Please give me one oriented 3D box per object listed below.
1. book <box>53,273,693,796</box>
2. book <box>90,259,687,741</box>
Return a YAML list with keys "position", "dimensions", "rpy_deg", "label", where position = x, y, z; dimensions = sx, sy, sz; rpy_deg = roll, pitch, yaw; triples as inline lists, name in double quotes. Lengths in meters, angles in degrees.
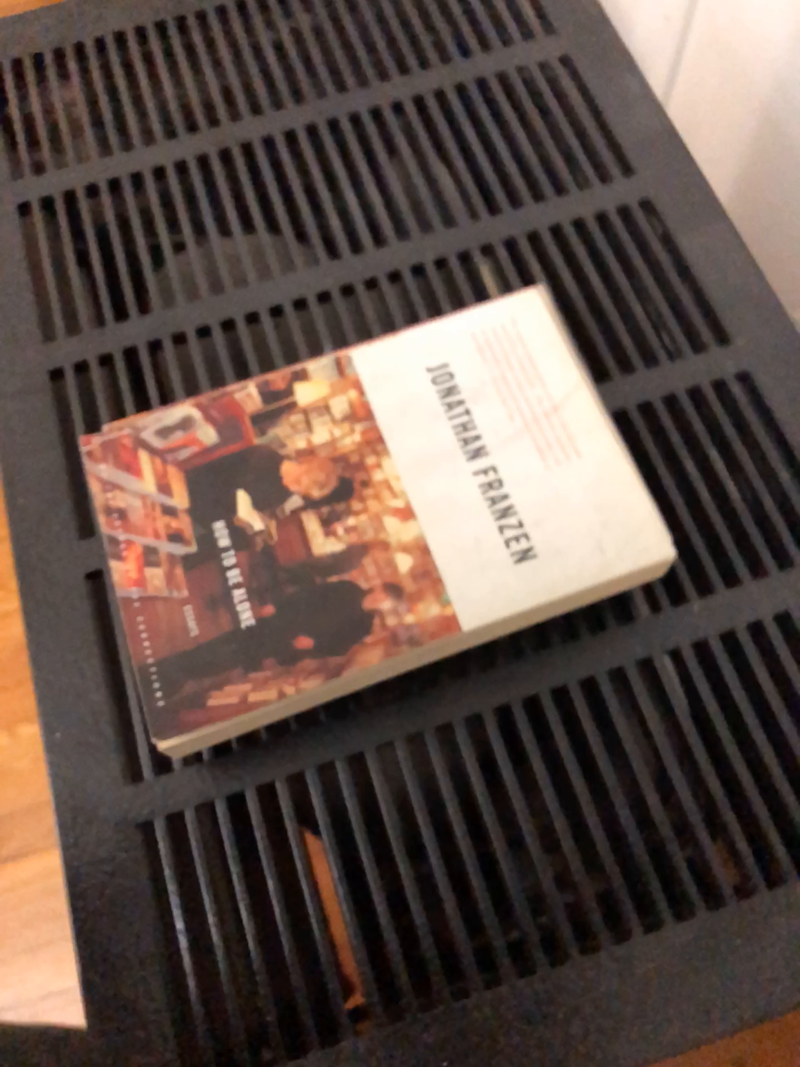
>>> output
- position: [-0.016, -0.008, 0.362]
  dimensions: [0.210, 0.030, 0.150]
  rpy_deg: [-20, 67, -7]
  label: "book"
- position: [-0.010, -0.022, 0.388]
  dimensions: [0.210, 0.030, 0.150]
  rpy_deg: [-20, 67, -7]
  label: "book"
